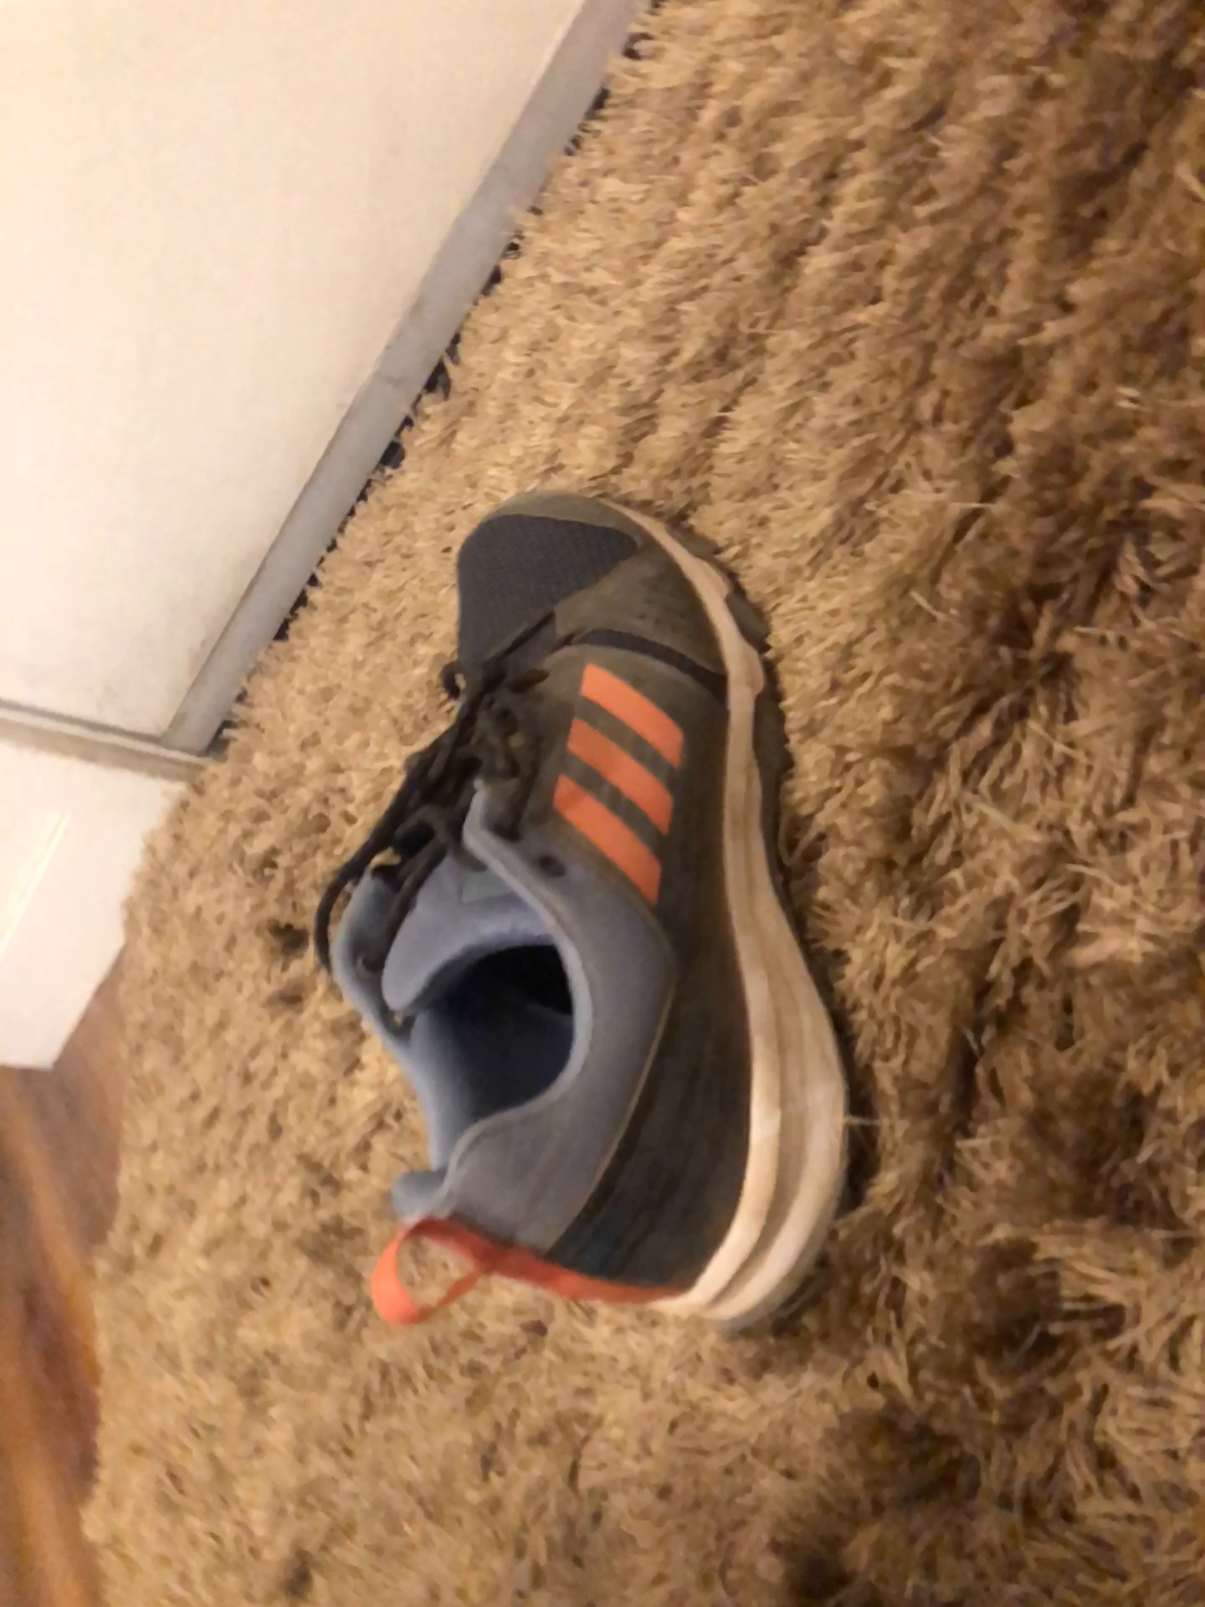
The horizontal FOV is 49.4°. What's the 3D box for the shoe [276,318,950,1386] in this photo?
[{"bbox_3d":[-0.019,0.008,0.382,0.113,0.109,0.275,-45,43,39],"label":"shoe"}]
